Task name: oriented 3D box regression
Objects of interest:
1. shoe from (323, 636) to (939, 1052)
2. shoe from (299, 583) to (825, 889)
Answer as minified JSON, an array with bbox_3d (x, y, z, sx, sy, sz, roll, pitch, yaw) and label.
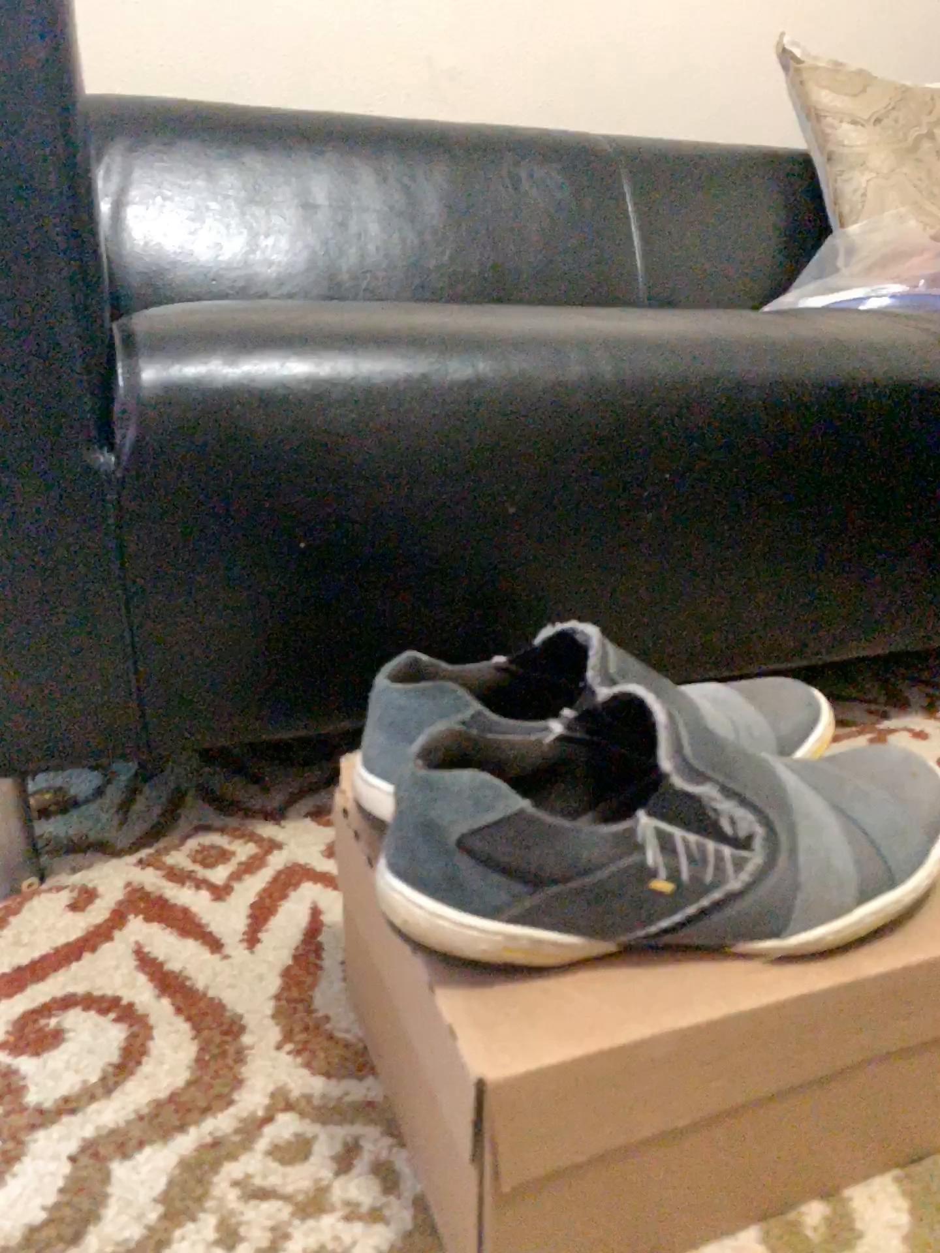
[{"bbox_3d":[0.072,0.084,0.447,0.260,0.100,0.141,-4,18,-15],"label":"shoe"},{"bbox_3d":[0.042,0.050,0.549,0.260,0.100,0.141,-4,18,-15],"label":"shoe"}]
